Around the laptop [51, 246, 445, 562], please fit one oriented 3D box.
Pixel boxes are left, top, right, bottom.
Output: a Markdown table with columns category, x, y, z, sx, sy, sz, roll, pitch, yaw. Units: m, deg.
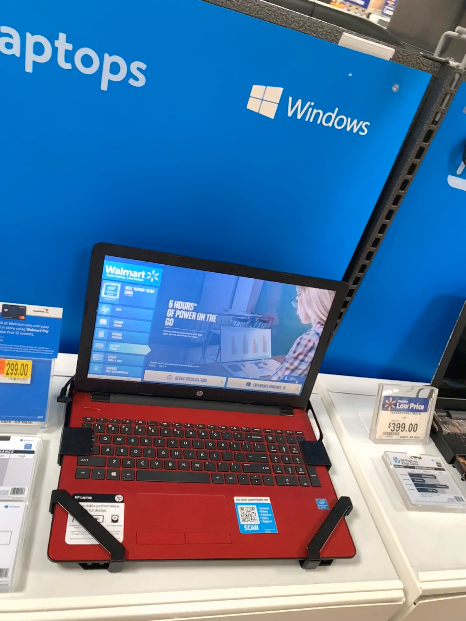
| category | x | y | z | sx | sy | sz | roll | pitch | yaw |
| --- | --- | --- | --- | --- | --- | --- | --- | --- | --- |
| laptop | -0.007 | 0.113 | 0.605 | 0.364 | 0.223 | 0.280 | 8 | 34 | -16 |
